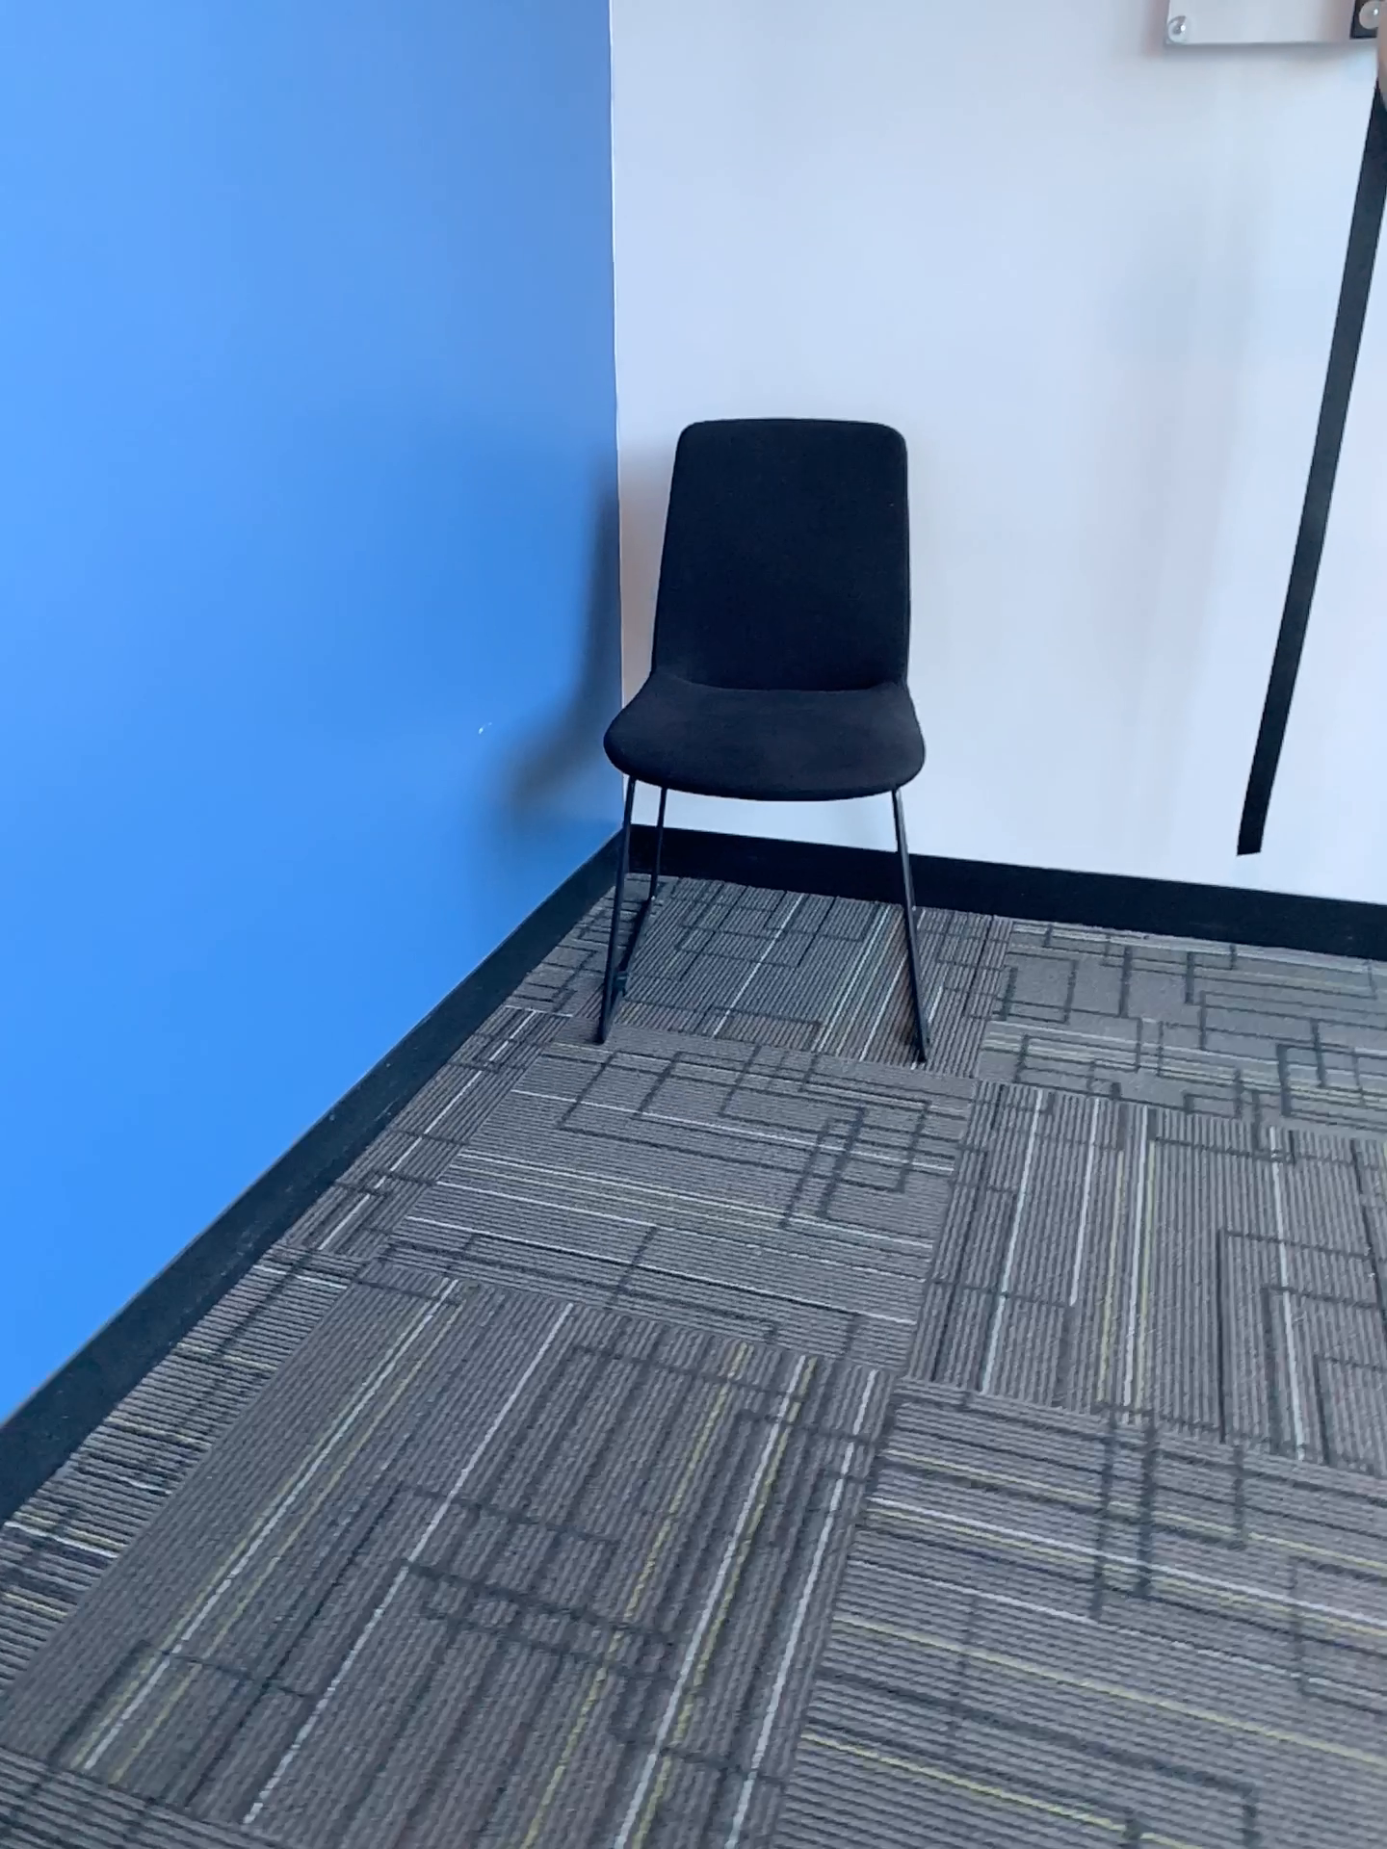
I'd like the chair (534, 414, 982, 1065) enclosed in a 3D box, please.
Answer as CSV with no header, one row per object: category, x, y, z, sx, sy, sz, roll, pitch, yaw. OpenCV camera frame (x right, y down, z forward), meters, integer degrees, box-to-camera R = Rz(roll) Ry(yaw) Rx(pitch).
chair,0.098,-0.293,1.995,0.500,0.756,0.583,3,24,6
